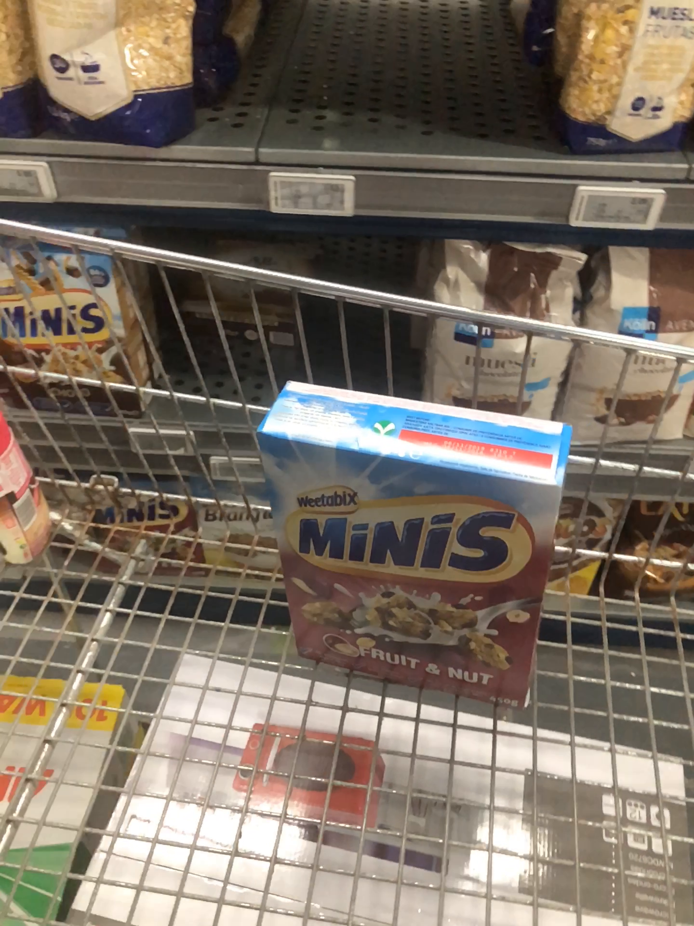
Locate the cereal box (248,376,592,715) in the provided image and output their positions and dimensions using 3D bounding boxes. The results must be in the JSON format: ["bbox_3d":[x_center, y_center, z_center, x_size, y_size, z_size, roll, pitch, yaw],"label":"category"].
[{"bbox_3d":[0.057,0.073,0.609,0.220,0.259,0.080,9,45,14],"label":"cereal box"}]
